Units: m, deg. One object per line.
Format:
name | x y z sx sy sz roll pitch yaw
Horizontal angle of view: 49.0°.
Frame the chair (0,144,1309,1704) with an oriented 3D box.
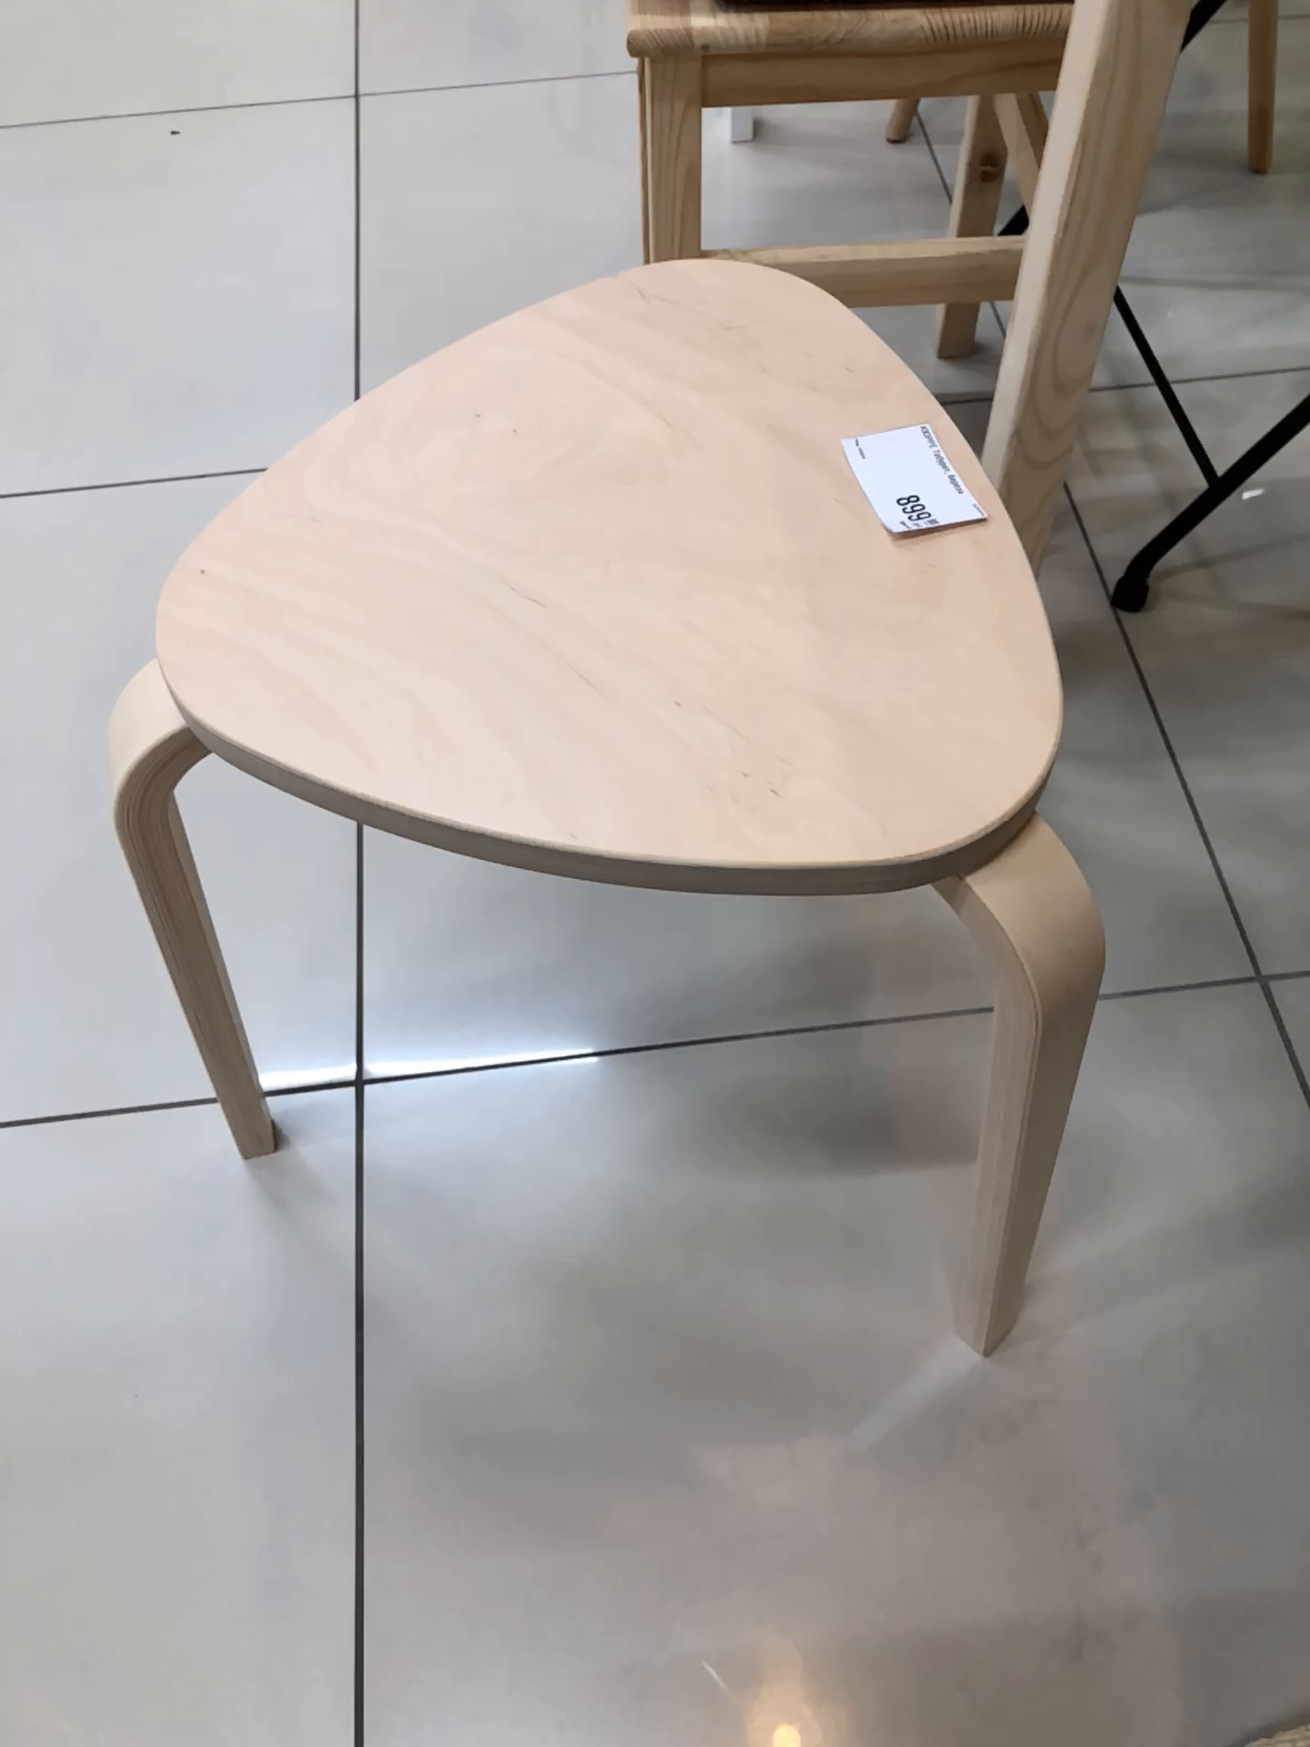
chair | 0.042 0.033 0.737 0.491 0.468 0.431 -39 63 -21
